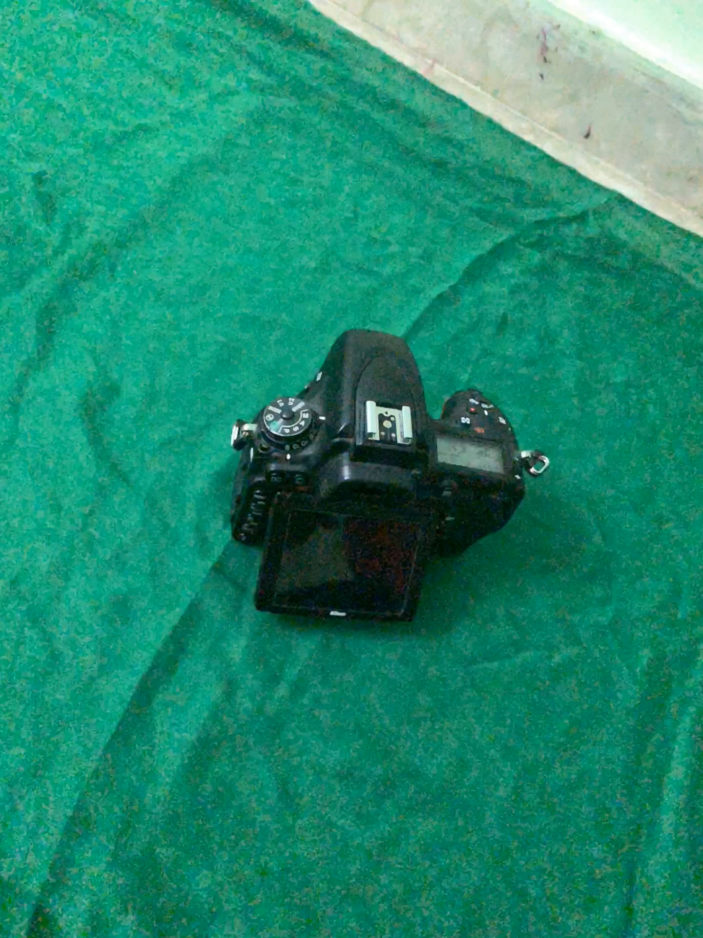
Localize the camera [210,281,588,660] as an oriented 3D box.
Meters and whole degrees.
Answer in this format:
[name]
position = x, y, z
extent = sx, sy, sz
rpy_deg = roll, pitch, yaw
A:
[camera]
position = 0.017, 0.006, 0.353
extent = 0.142, 0.100, 0.128
rpy_deg = 11, 57, -12
